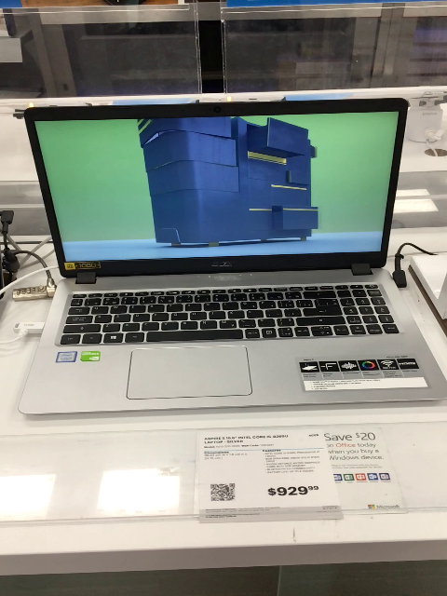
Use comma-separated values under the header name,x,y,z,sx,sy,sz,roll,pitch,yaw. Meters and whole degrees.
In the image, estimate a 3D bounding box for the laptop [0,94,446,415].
name,x,y,z,sx,sy,sz,roll,pitch,yaw
laptop,0.002,-0.056,0.615,0.417,0.218,0.277,-3,40,-1
